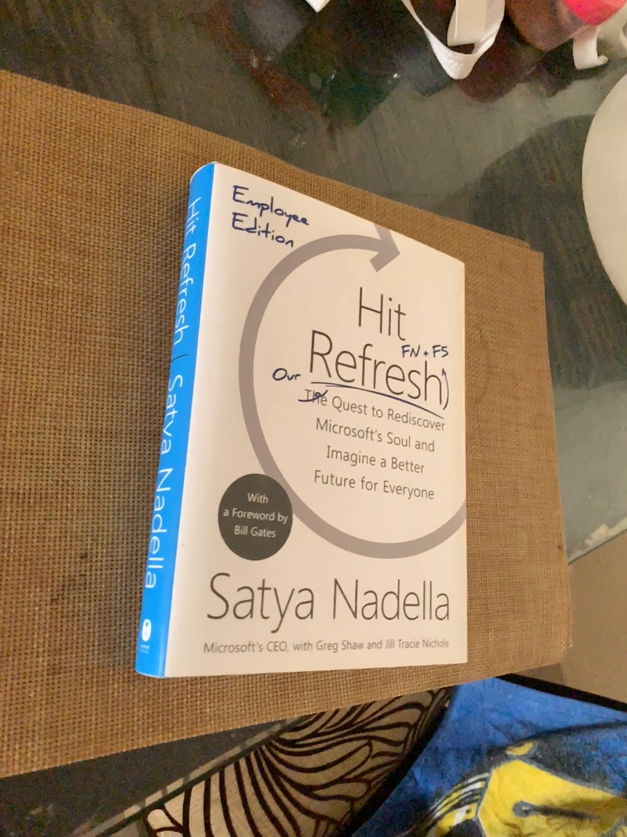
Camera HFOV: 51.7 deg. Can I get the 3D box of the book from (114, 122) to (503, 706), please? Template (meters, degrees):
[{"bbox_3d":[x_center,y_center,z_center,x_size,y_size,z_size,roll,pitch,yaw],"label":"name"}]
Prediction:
[{"bbox_3d":[0.015,0.005,0.333,0.191,0.040,0.250,13,73,-31],"label":"book"}]
